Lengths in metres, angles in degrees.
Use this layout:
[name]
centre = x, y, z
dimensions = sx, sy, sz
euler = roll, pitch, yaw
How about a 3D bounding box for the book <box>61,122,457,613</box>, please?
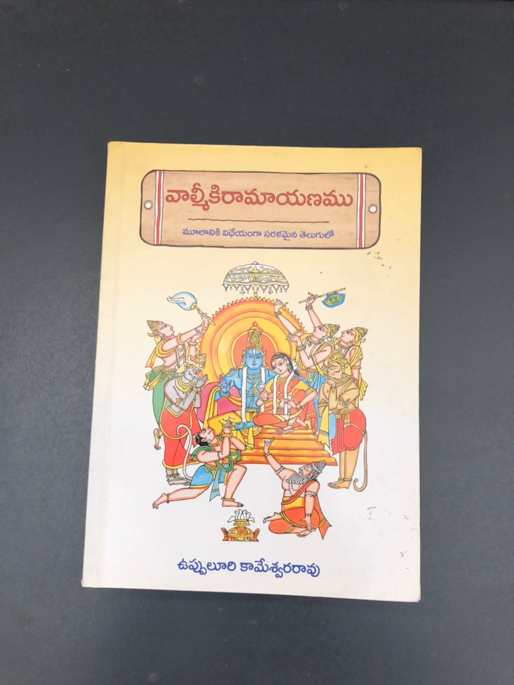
[book]
centre = 0.005, 0.008, 0.296
dimensions = 0.190, 0.020, 0.240
euler = 2, 84, 1
